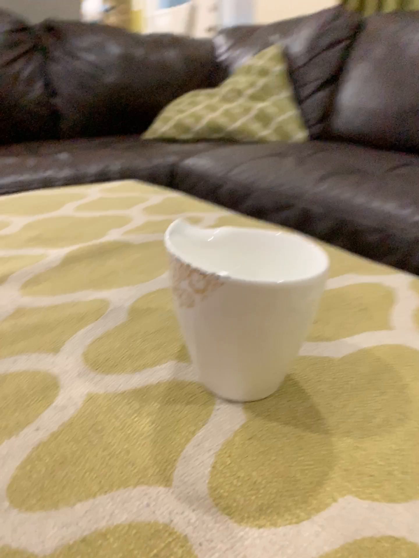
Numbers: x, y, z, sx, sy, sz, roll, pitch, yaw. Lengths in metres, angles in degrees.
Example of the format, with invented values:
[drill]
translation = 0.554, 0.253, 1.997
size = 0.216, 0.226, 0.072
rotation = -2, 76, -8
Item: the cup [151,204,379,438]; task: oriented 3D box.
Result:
[cup]
translation = 0.019, 0.013, 0.249
size = 0.089, 0.079, 0.109
rotation = -6, 26, -13
